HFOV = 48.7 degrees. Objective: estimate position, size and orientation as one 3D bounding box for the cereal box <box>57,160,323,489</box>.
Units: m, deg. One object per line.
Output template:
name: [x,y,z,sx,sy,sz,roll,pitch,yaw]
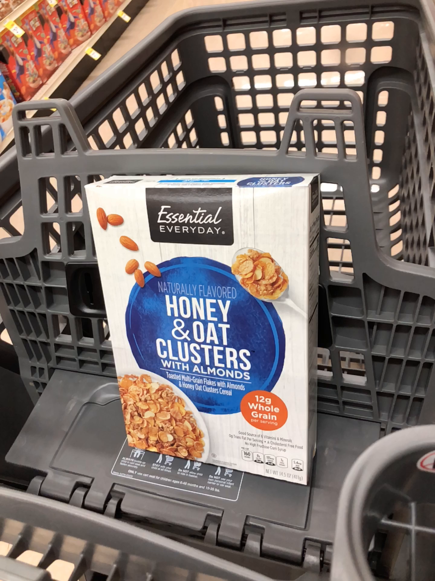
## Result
cereal box: [-0.017,0.029,0.443,0.210,0.280,0.060,5,24,21]
